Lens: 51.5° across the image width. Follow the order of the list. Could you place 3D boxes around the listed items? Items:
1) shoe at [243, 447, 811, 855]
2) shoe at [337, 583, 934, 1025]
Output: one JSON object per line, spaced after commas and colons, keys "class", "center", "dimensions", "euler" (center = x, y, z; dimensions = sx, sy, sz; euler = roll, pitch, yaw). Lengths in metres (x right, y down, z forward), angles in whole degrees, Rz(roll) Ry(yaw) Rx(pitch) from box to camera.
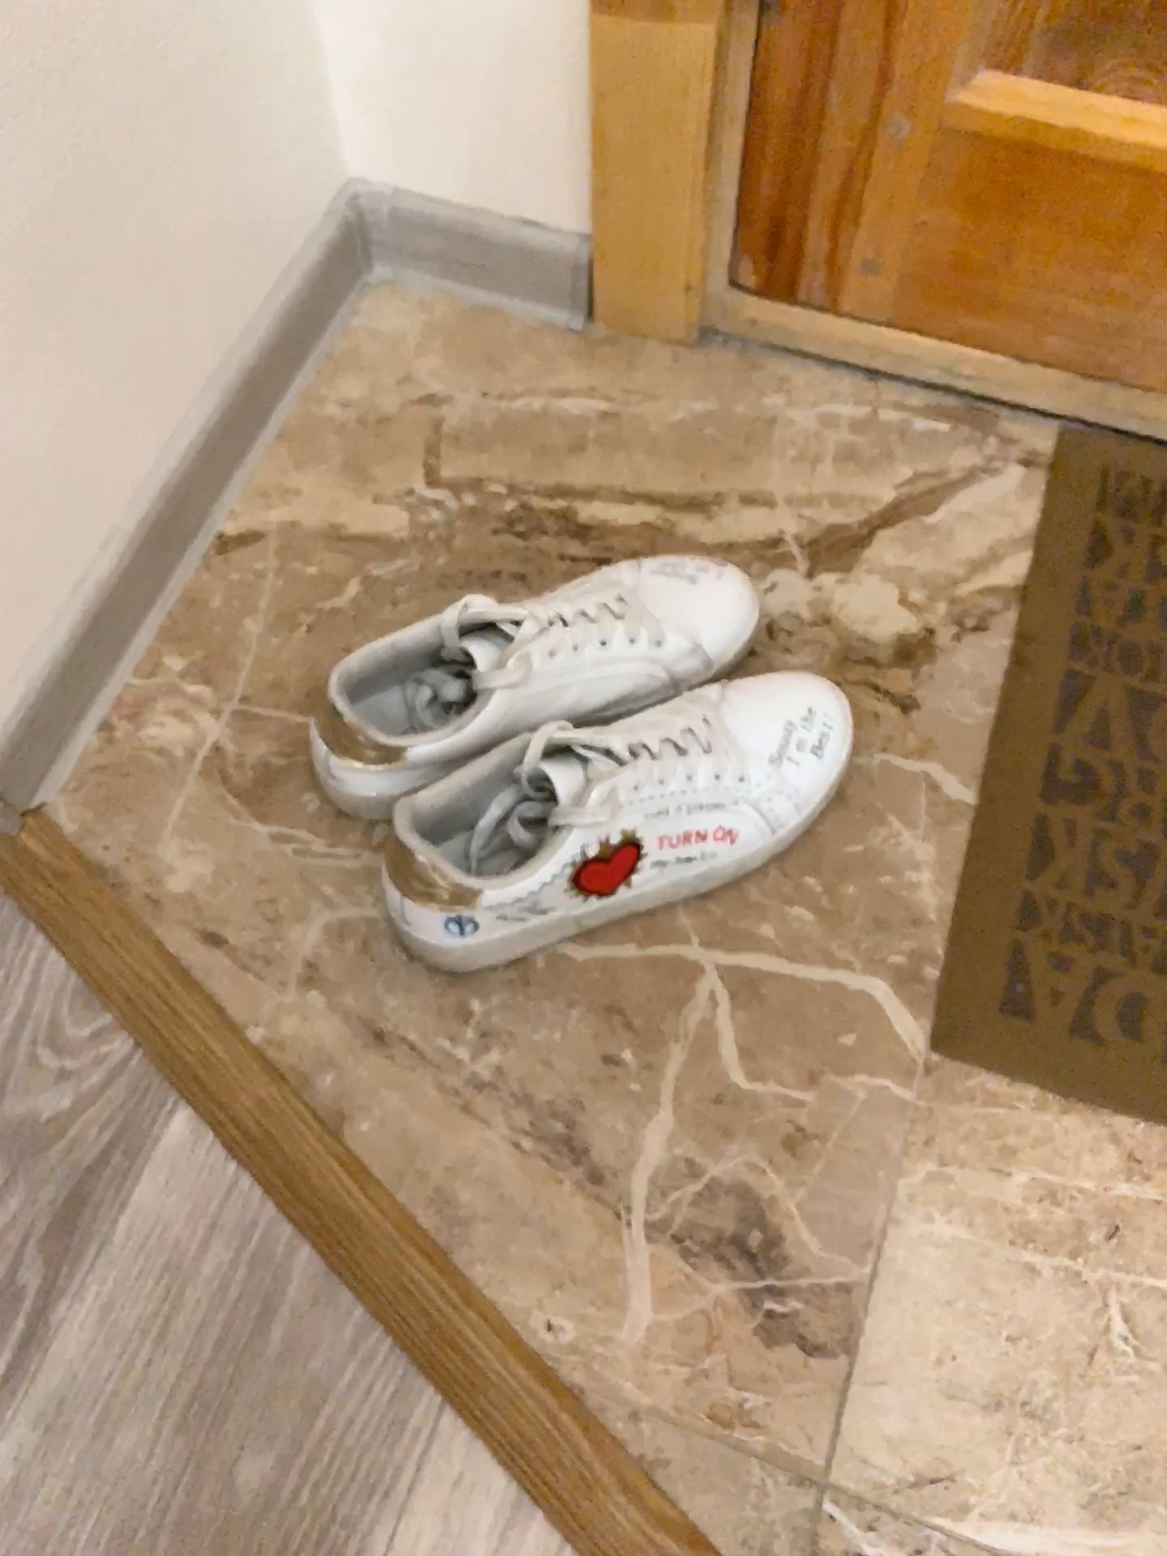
{"class": "shoe", "center": [-0.026, -0.066, 0.613], "dimensions": [0.256, 0.080, 0.093], "euler": [-23, 64, -11]}
{"class": "shoe", "center": [0.025, 0.011, 0.582], "dimensions": [0.256, 0.080, 0.093], "euler": [-24, 64, -11]}
